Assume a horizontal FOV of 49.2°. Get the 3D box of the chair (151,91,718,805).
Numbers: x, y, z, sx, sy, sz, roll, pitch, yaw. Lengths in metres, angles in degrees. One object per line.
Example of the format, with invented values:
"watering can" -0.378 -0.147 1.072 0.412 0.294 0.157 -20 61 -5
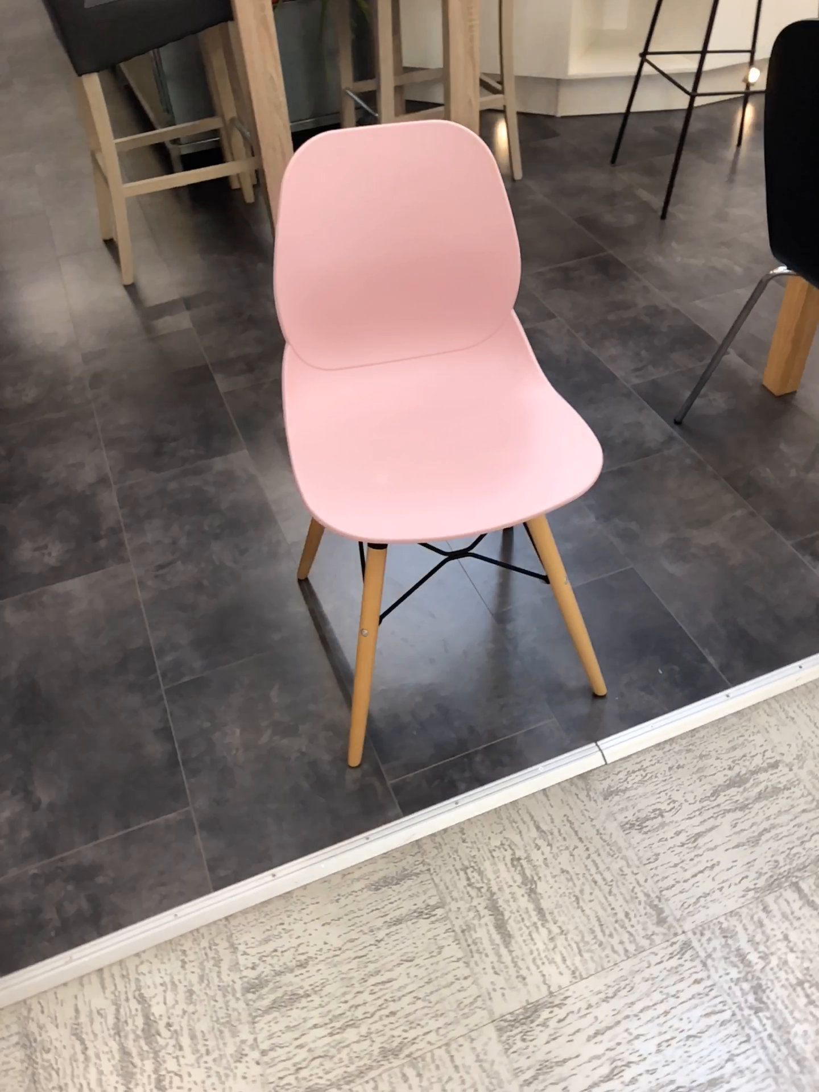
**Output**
"chair" 0.004 -0.130 1.390 0.552 0.847 0.552 -13 45 -10
